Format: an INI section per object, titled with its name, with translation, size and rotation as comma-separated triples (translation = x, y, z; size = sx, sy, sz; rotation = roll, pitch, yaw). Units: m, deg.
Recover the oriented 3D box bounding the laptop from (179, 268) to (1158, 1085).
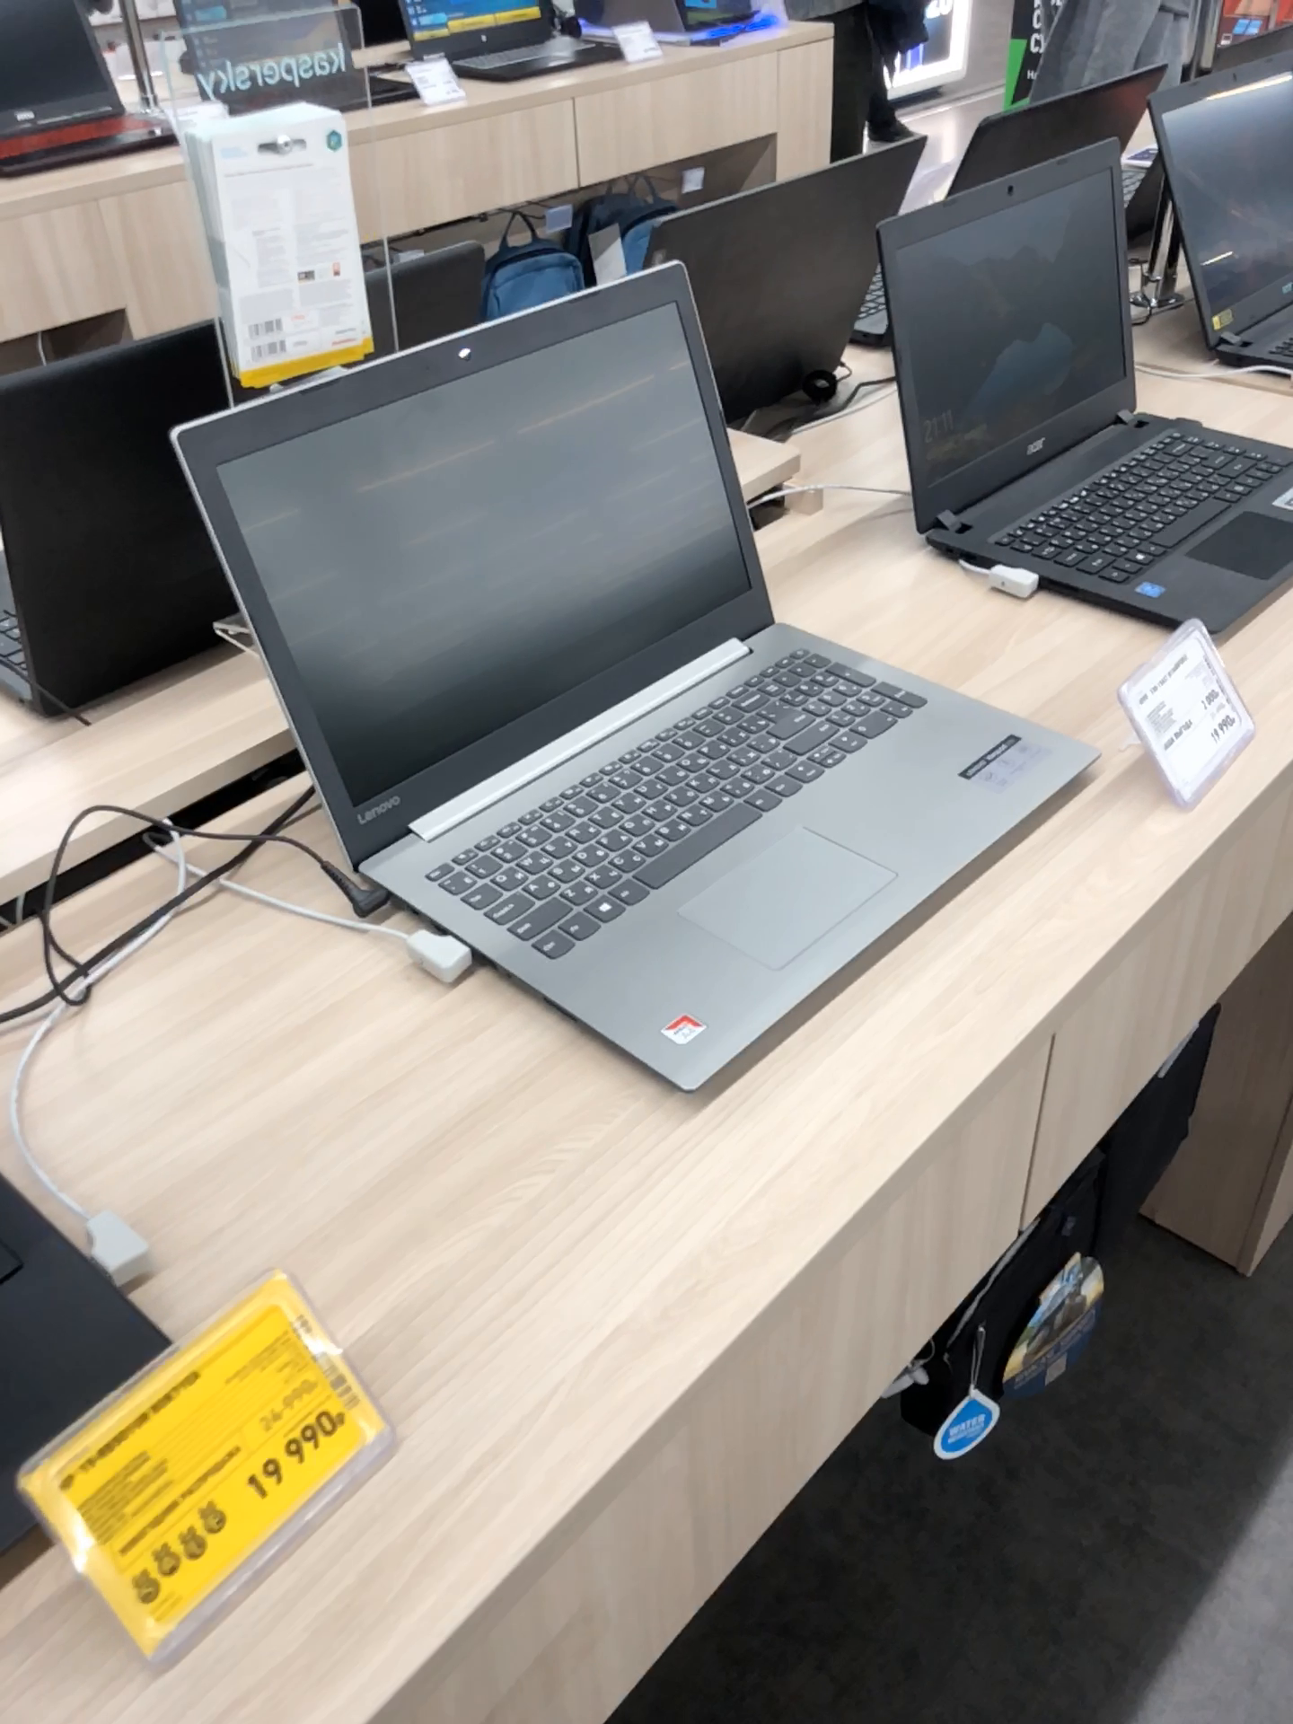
[laptop]
translation = 0.021, -0.145, 0.802
size = 0.344, 0.235, 0.381
rotation = 28, 46, 34
